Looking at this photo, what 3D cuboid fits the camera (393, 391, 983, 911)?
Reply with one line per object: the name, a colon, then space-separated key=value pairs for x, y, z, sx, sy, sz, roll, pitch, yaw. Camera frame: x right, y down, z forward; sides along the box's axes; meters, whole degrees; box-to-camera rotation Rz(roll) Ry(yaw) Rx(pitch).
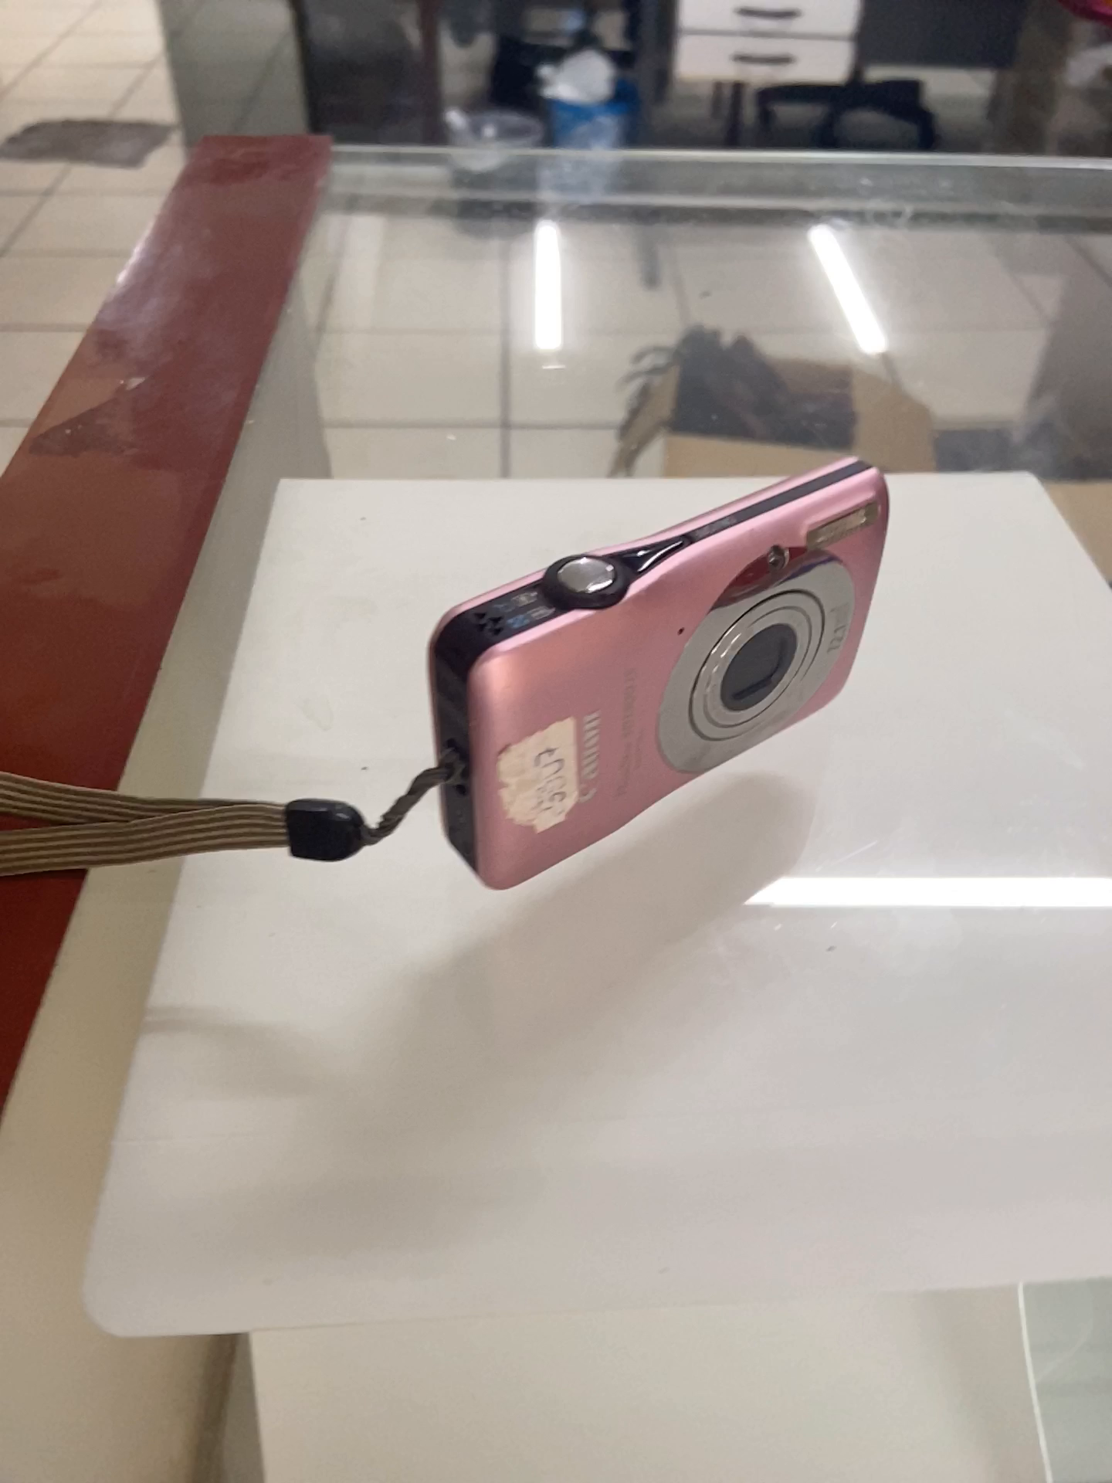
camera: x=0.024 y=-0.019 z=0.201 sx=0.100 sy=0.050 sz=0.030 roll=-26 pitch=50 yaw=-29
